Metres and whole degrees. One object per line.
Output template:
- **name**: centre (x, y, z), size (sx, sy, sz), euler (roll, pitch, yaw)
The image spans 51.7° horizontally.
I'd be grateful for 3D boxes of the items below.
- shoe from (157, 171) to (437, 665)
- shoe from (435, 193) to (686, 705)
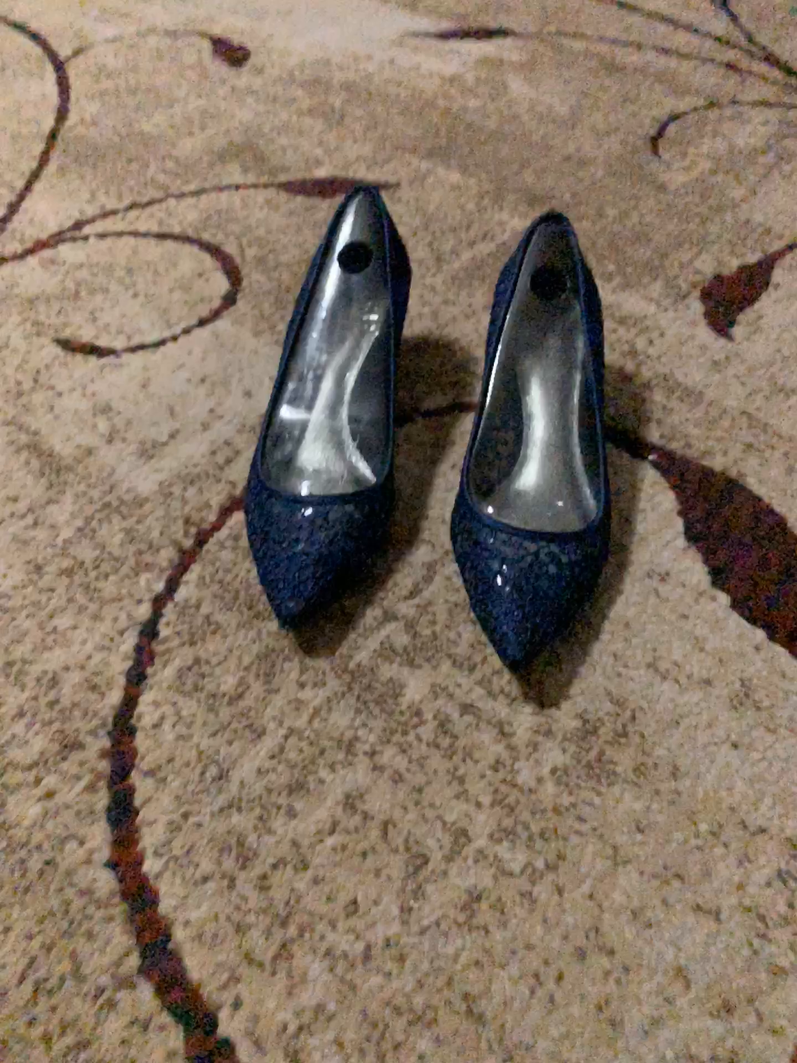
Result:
- **shoe**: centre (-0.036, -0.081, 0.447), size (0.088, 0.088, 0.295), euler (5, 49, 3)
- **shoe**: centre (0.076, -0.062, 0.430), size (0.088, 0.088, 0.286), euler (5, 49, 3)
